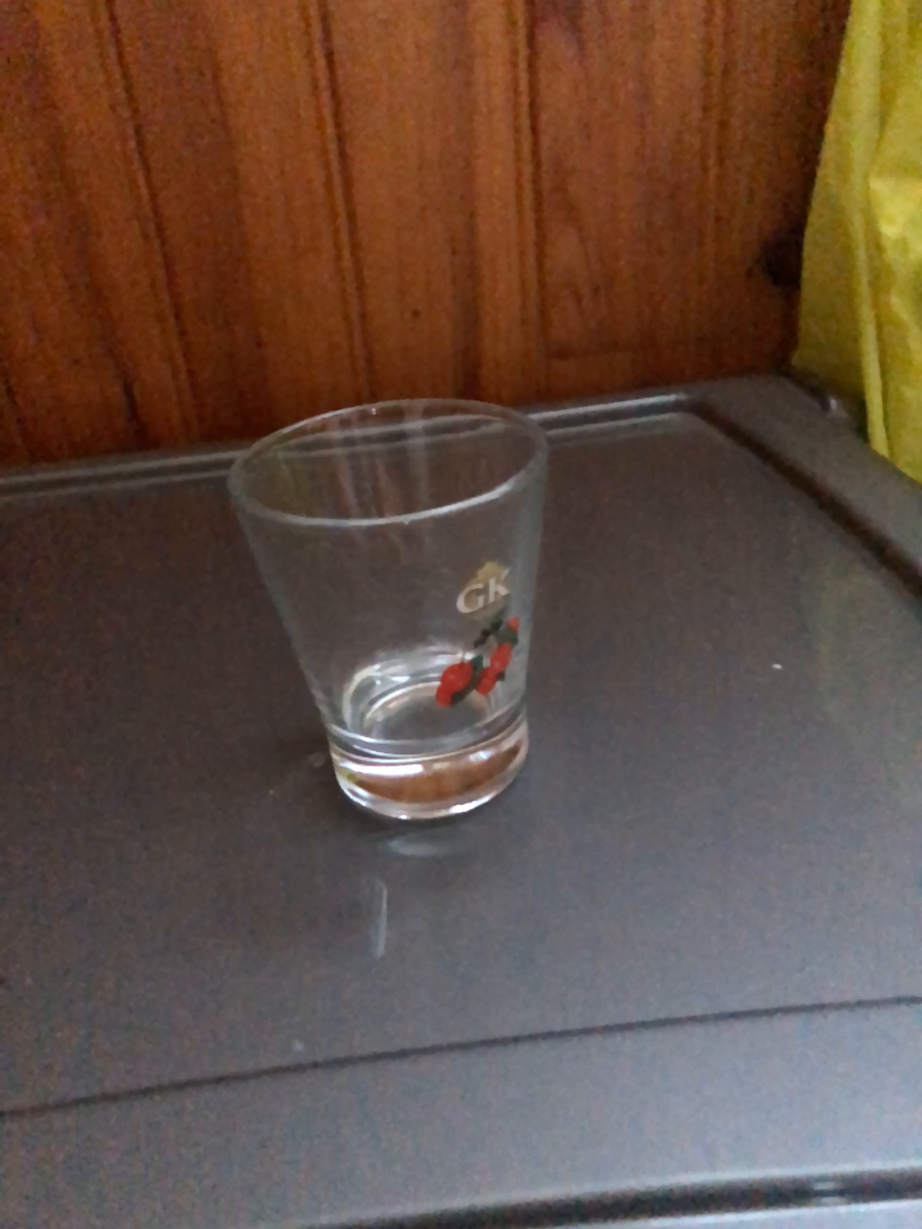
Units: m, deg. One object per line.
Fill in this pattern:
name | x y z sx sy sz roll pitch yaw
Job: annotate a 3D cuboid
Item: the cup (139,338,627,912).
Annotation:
cup | -0.010 -0.003 0.199 0.060 0.080 0.060 -4 30 3
